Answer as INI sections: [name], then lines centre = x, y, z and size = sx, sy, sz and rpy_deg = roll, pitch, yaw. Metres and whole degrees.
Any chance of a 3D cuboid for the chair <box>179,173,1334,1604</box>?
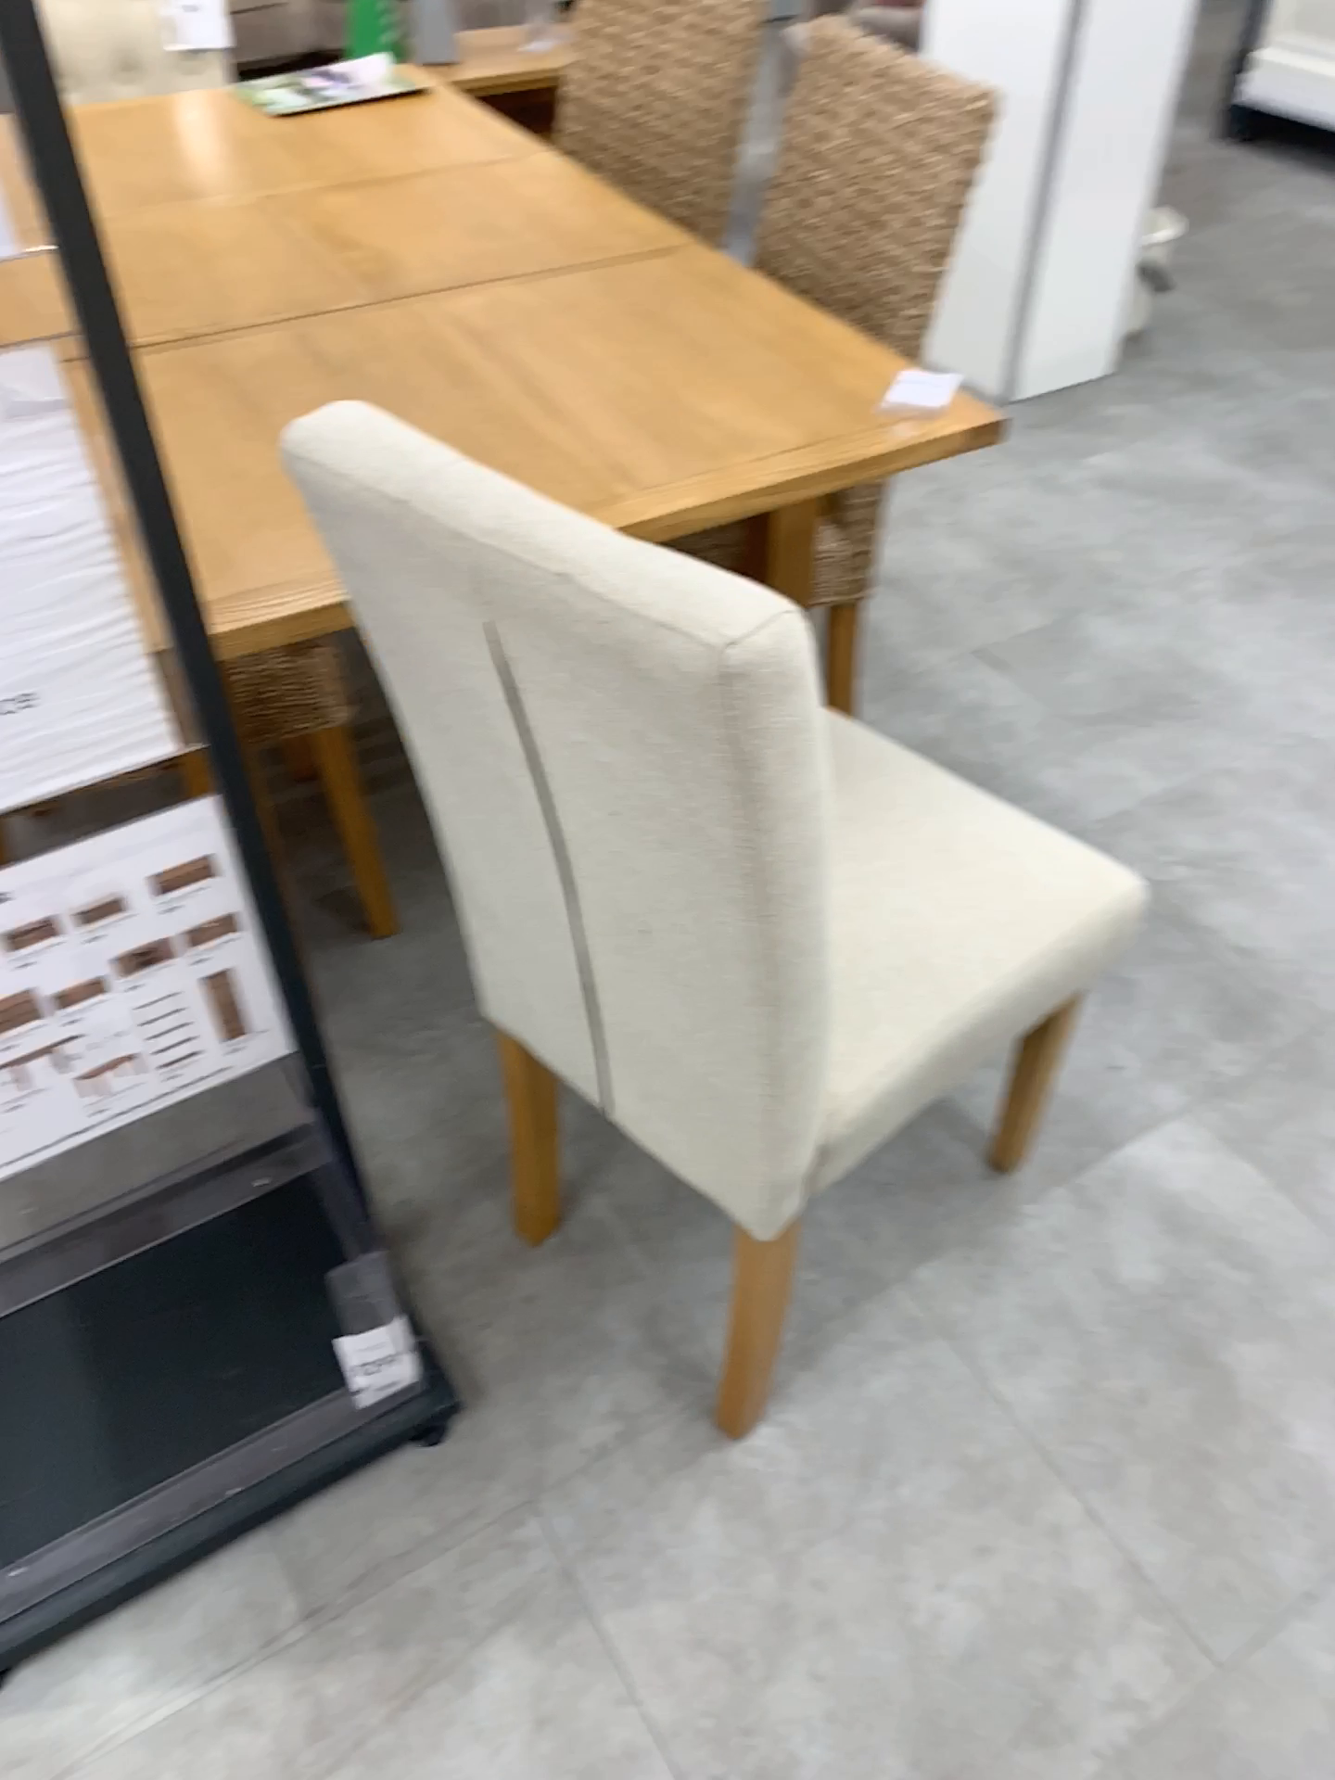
[chair]
centre = 0.099, 0.010, 1.130
size = 0.613, 0.896, 0.481
rpy_deg = -34, 53, -31
